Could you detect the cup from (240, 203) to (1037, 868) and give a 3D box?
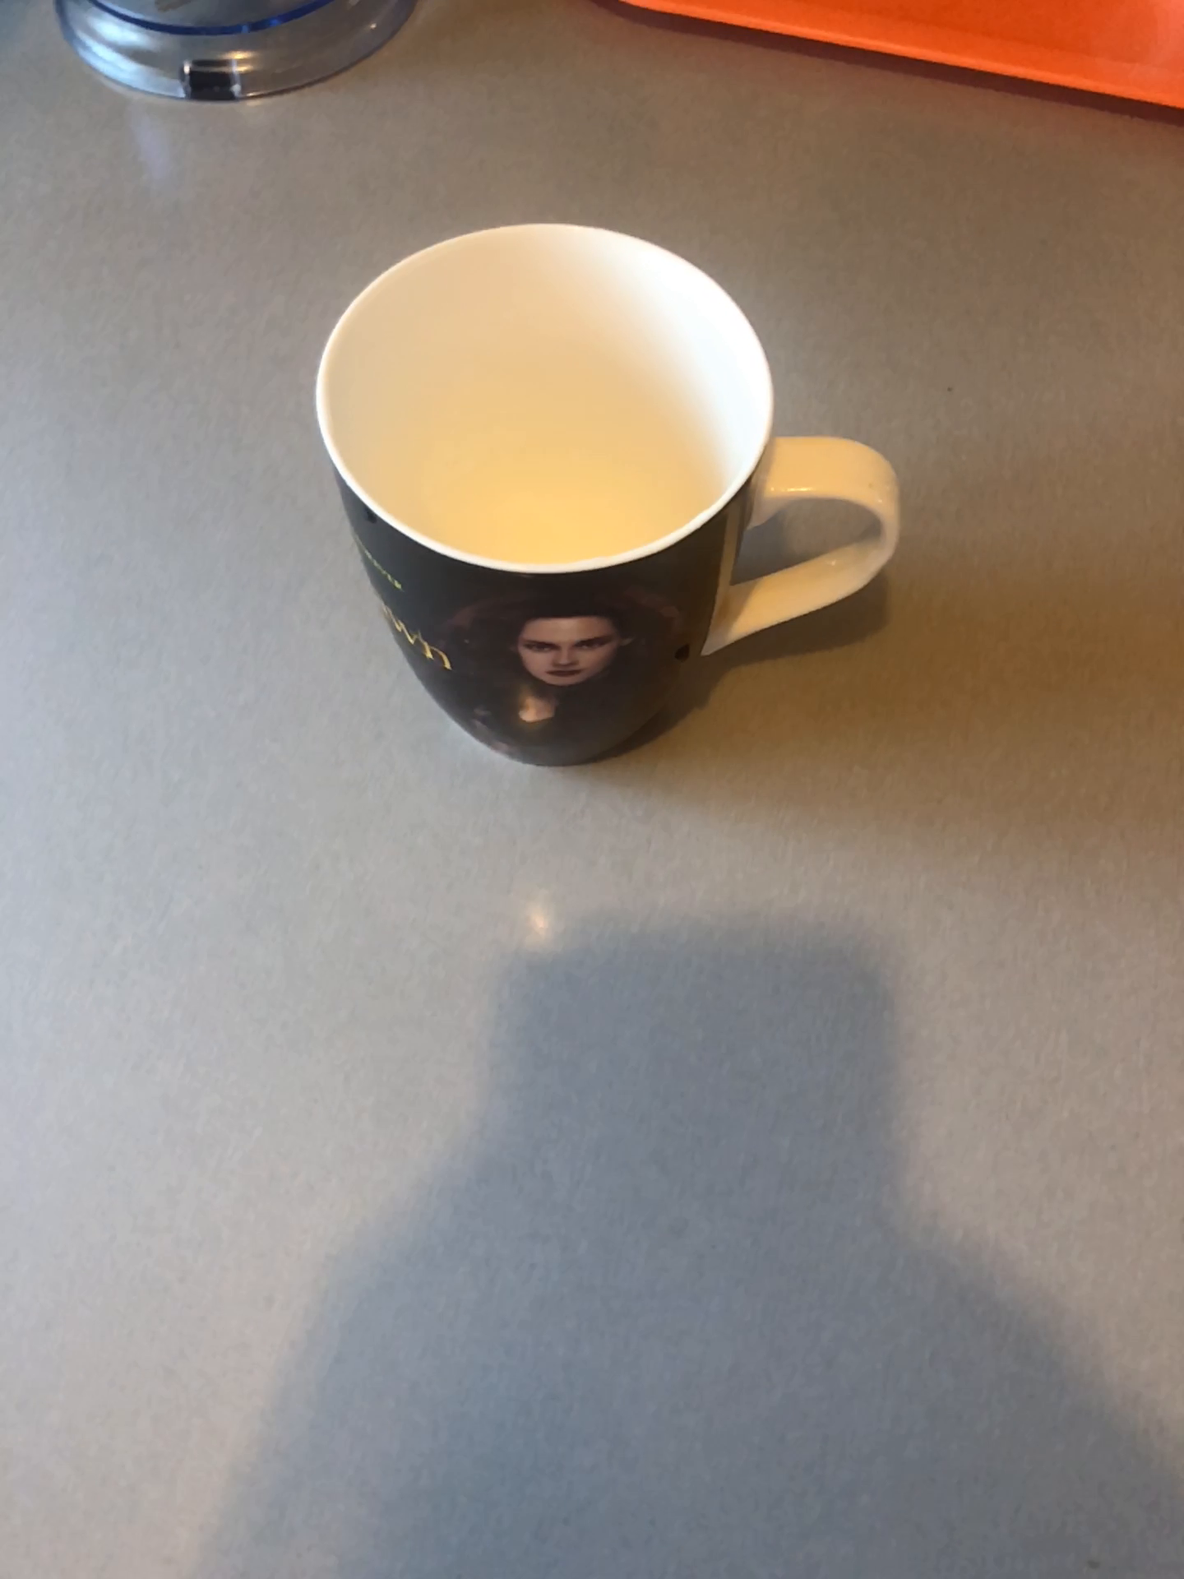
[{"bbox_3d":[0.011,-0.048,0.279,0.130,0.100,0.090,3,64,2],"label":"cup"}]
